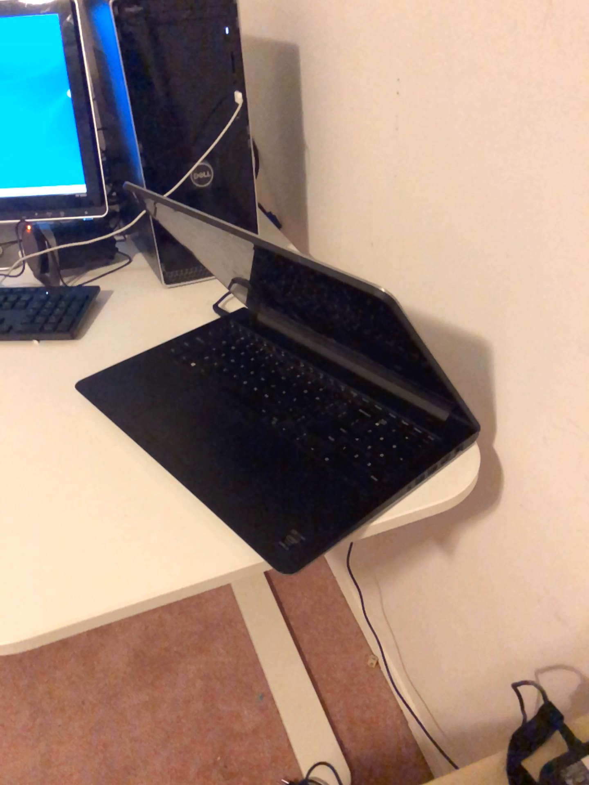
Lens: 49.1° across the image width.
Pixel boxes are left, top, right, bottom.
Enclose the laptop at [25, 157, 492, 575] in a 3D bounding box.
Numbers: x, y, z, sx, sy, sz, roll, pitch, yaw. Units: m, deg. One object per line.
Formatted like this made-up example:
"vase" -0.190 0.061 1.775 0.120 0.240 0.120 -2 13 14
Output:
"laptop" -0.047 -0.068 0.640 0.251 0.207 0.375 -29 42 -30
